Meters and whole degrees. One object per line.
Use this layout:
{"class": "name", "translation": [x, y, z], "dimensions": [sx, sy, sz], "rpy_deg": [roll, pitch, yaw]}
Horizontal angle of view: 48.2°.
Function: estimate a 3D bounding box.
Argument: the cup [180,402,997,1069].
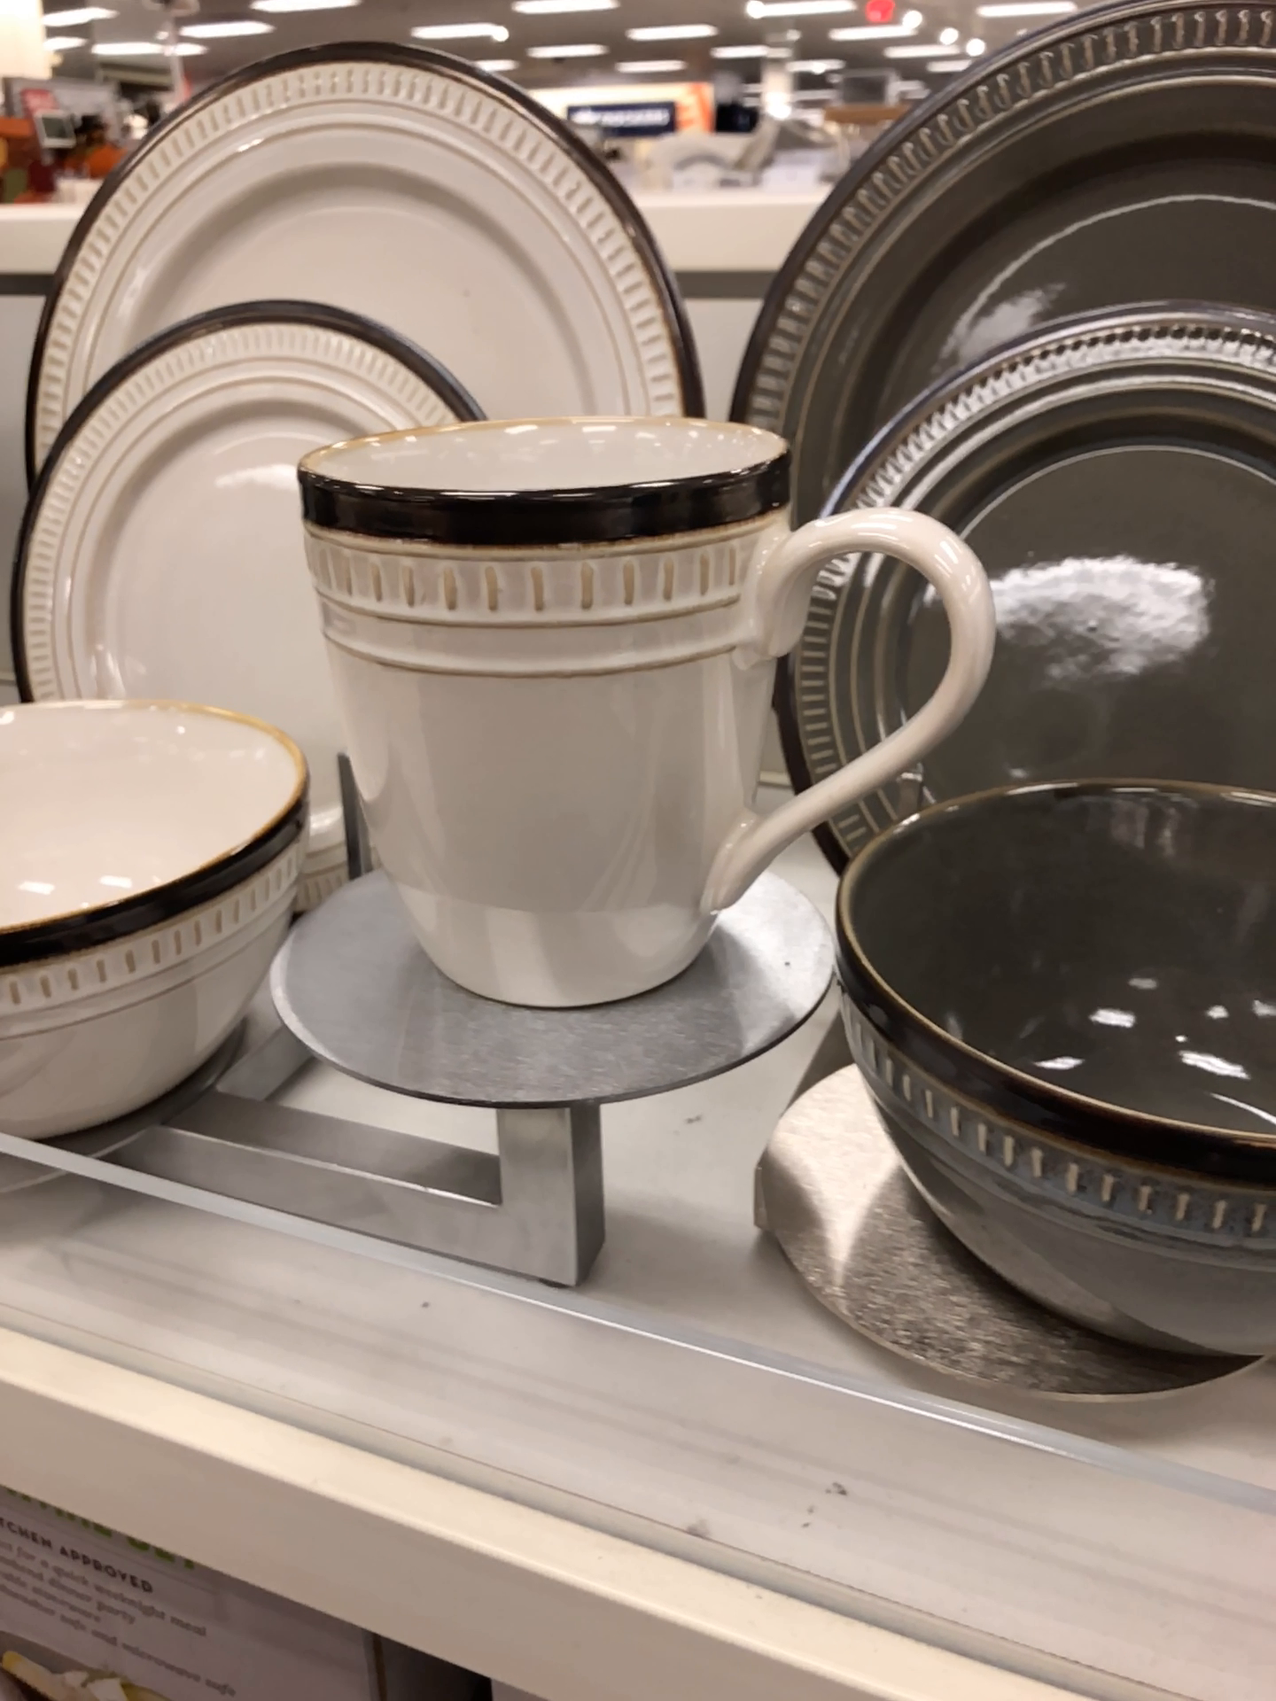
{"class": "cup", "translation": [-0.002, -0.032, 0.284], "dimensions": [0.128, 0.097, 0.092], "rpy_deg": [6, 26, 16]}
